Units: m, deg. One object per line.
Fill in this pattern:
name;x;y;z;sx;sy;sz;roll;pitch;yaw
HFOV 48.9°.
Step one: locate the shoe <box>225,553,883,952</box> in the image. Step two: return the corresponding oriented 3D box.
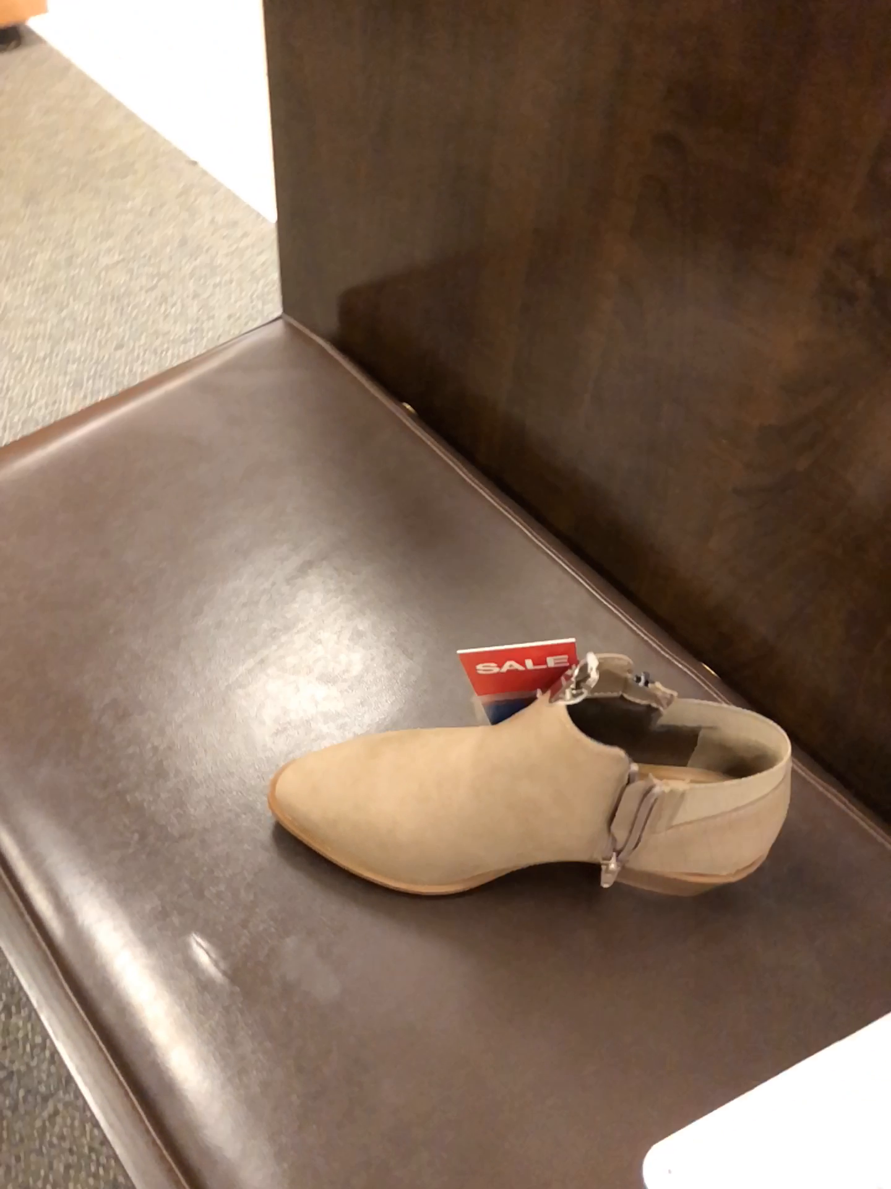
shoe;0.043;0.078;0.467;0.260;0.133;0.097;8;51;2
